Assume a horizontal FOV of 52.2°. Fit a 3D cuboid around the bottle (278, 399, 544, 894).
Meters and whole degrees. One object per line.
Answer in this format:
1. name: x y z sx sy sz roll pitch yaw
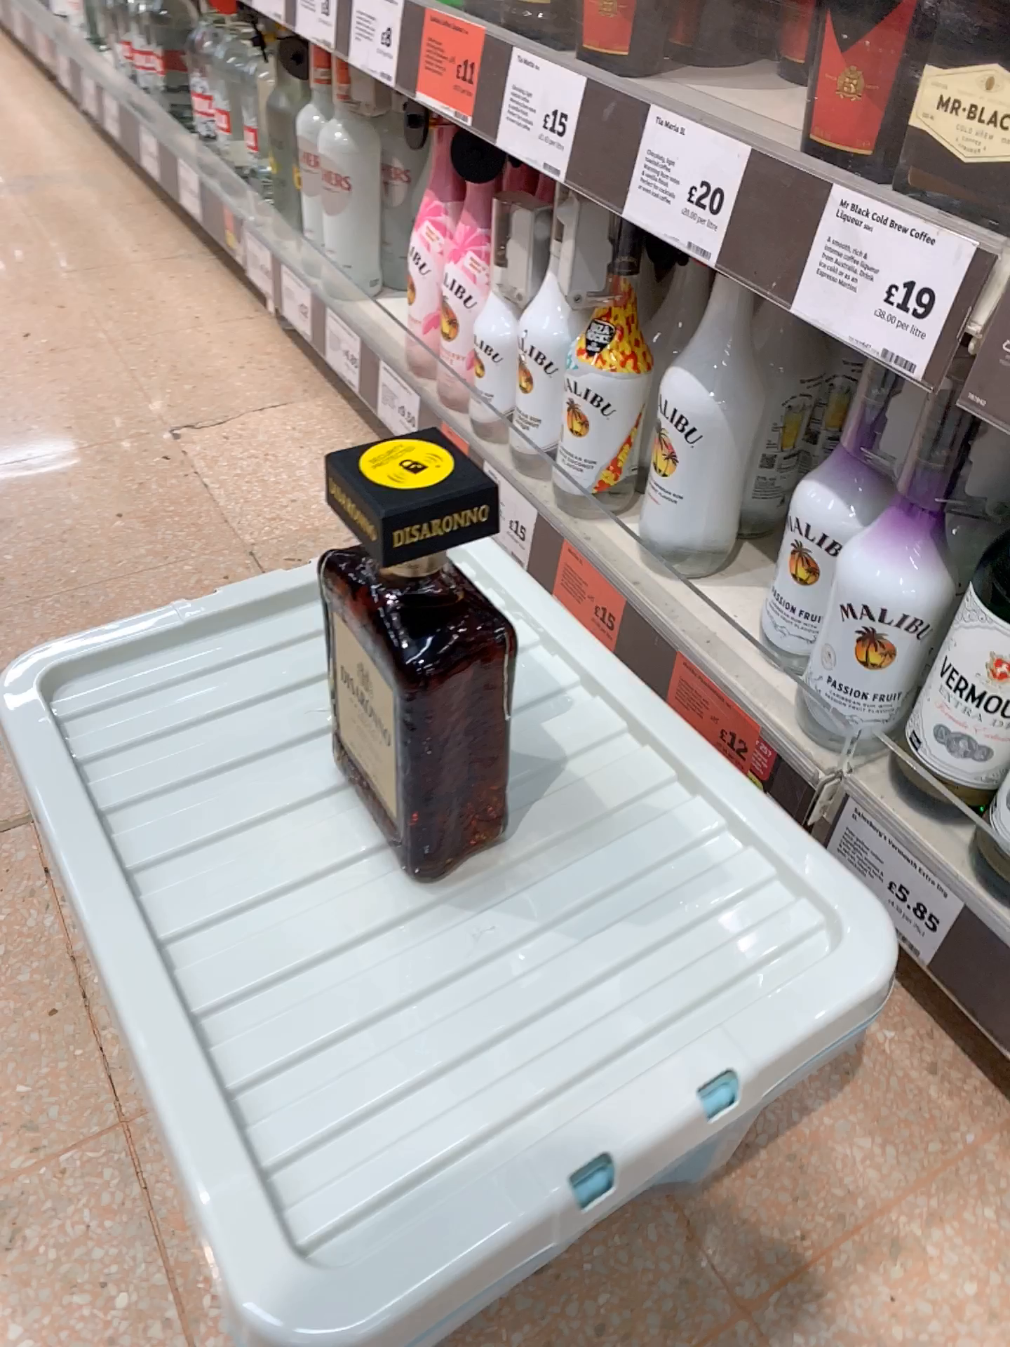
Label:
1. bottle: -0.048 -0.008 0.509 0.070 0.208 0.111 -20 47 -24
